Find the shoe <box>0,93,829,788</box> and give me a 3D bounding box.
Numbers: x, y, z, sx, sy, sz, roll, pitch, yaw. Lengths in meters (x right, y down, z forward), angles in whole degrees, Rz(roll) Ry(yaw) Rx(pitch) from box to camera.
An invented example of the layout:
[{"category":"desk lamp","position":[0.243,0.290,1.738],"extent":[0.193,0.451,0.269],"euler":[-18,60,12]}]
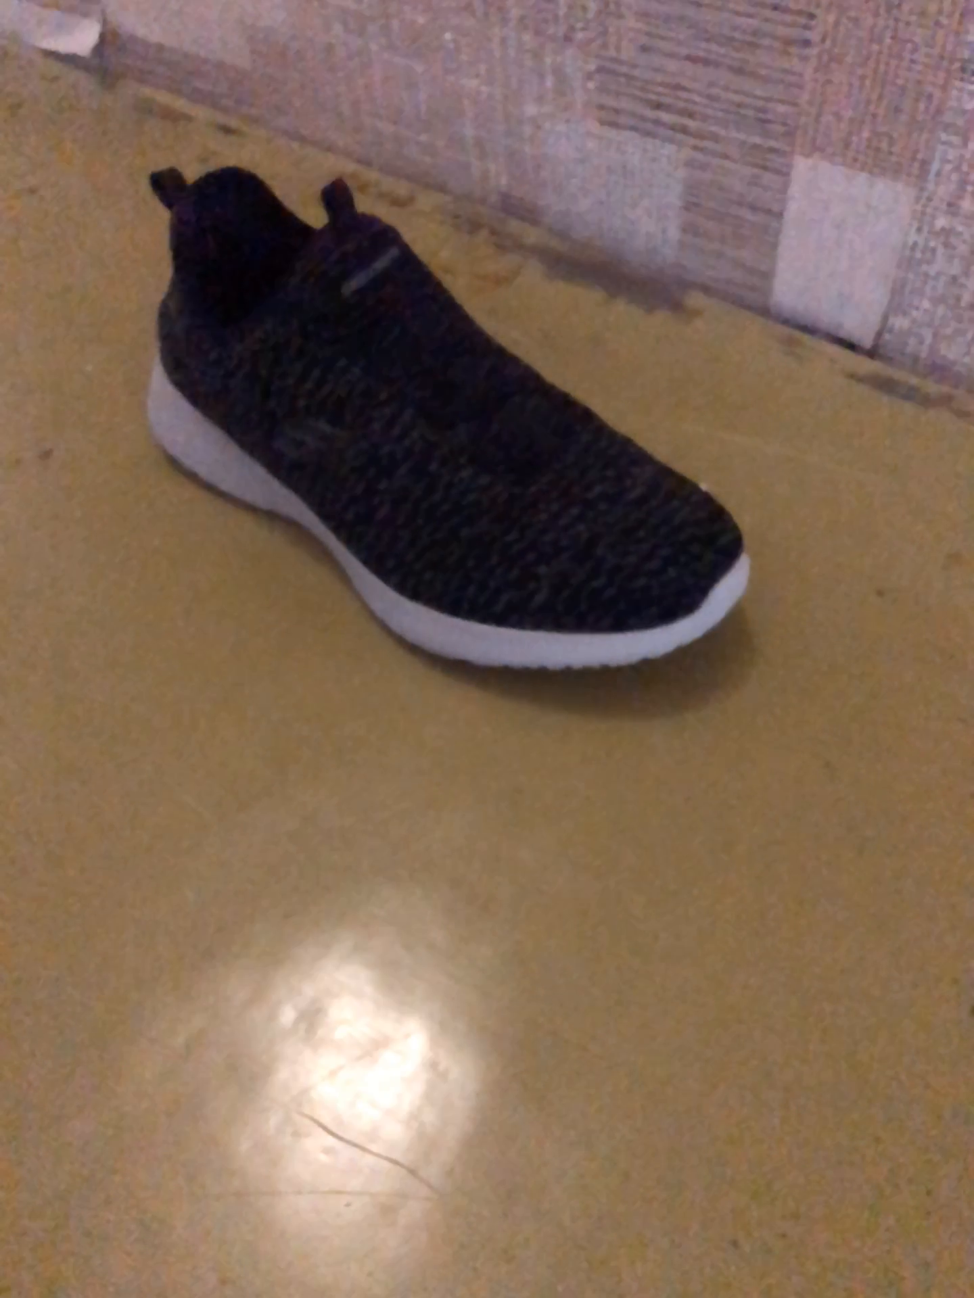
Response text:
[{"category":"shoe","position":[-0.045,-0.103,0.459],"extent":[0.321,0.120,0.130],"euler":[32,60,24]}]
